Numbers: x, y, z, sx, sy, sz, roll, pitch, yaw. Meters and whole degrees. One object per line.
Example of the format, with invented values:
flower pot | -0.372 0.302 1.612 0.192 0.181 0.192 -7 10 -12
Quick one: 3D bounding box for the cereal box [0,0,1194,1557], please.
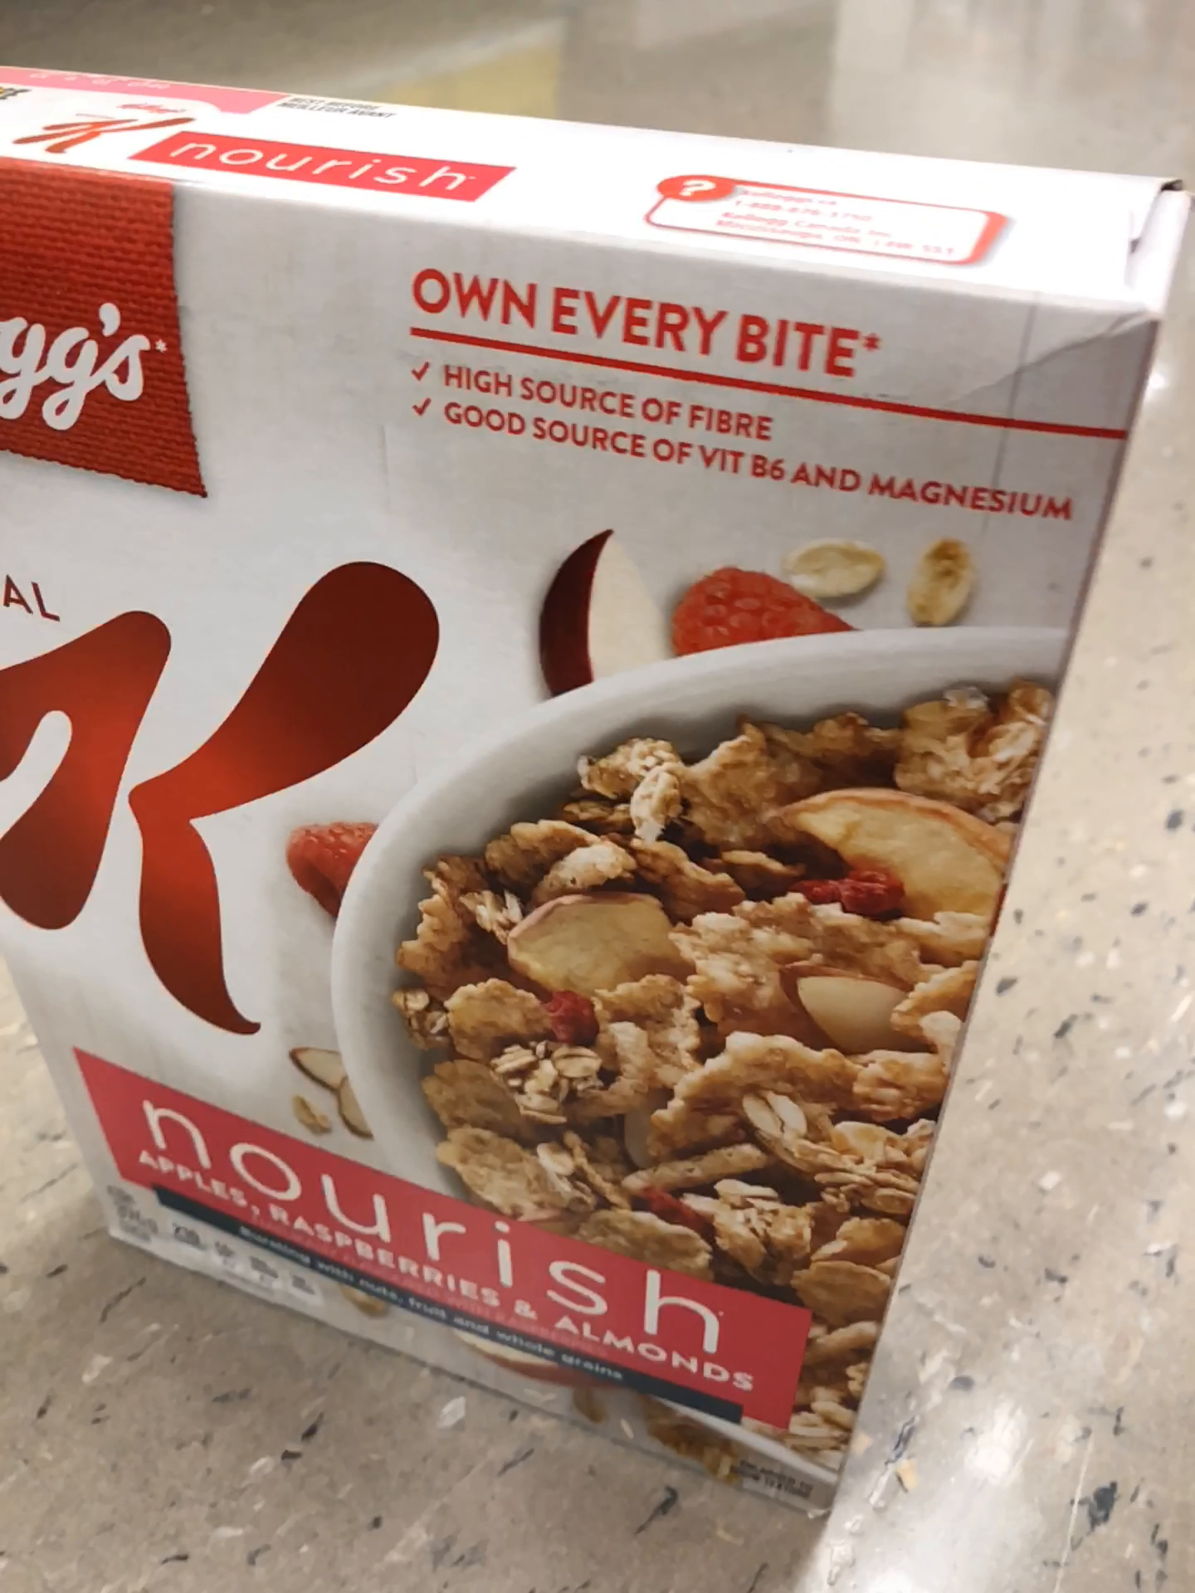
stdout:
cereal box | -0.029 0.024 0.257 0.210 0.289 0.050 14 43 16
